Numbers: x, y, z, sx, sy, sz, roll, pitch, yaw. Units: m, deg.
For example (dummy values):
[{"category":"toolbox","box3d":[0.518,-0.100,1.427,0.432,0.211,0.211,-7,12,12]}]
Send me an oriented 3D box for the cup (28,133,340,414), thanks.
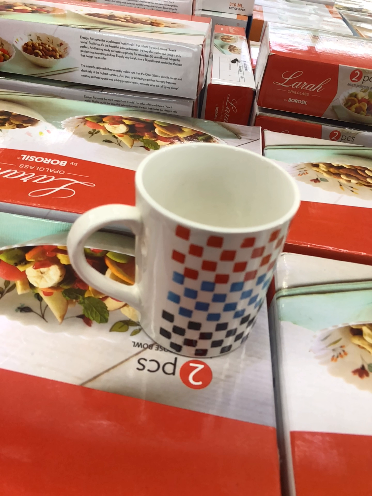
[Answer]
[{"category":"cup","box3d":[-0.008,0.005,0.221,0.120,0.089,0.090,-13,44,-24]}]
